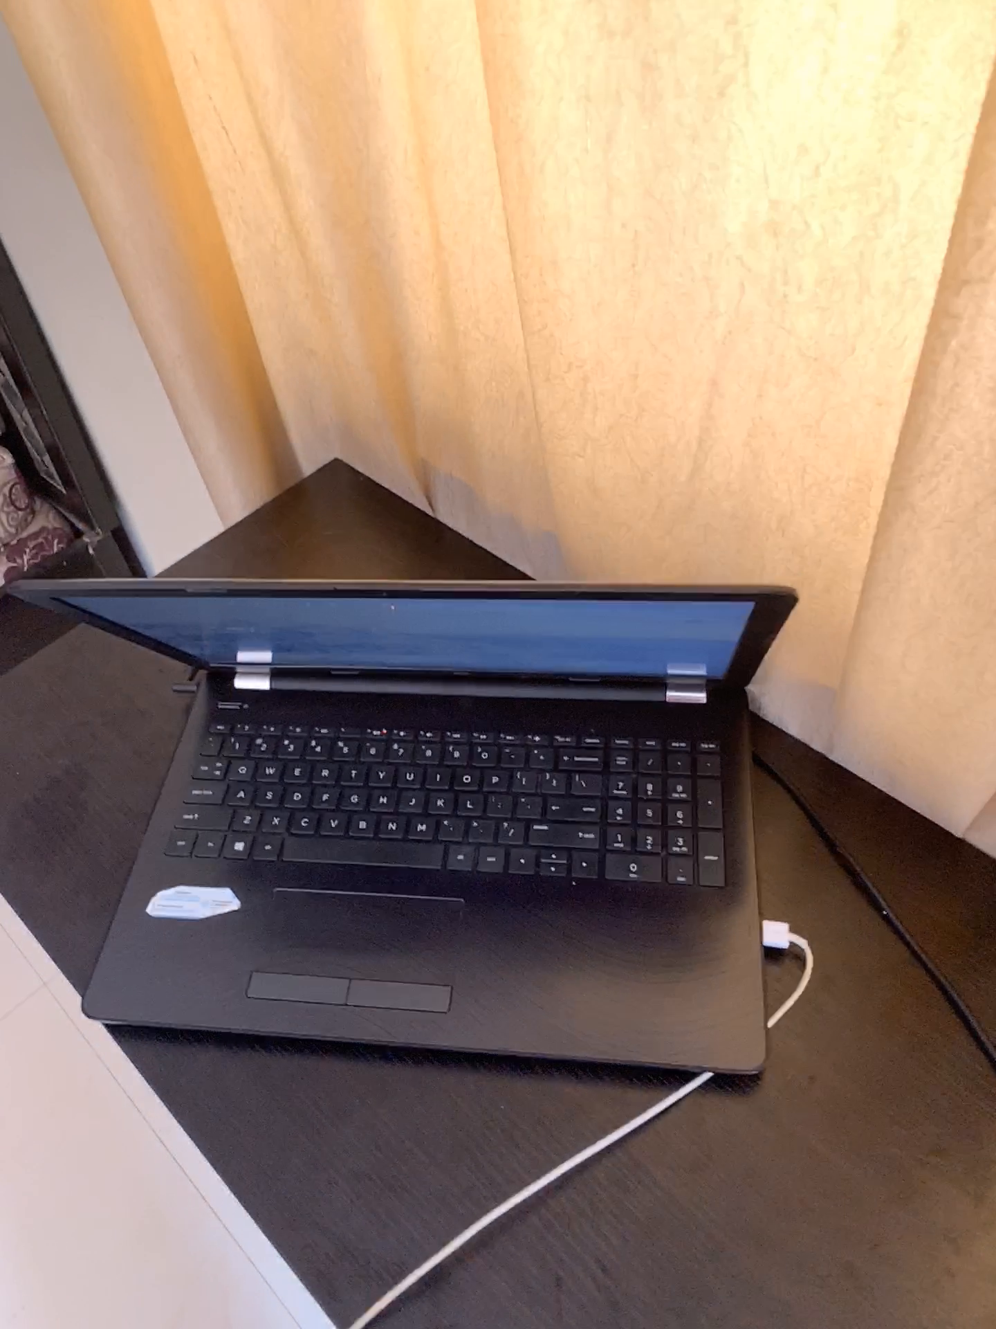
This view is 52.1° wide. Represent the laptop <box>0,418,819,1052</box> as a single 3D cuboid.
[{"bbox_3d":[-0.040,0.030,0.544,0.362,0.201,0.239,2,51,10],"label":"laptop"}]
